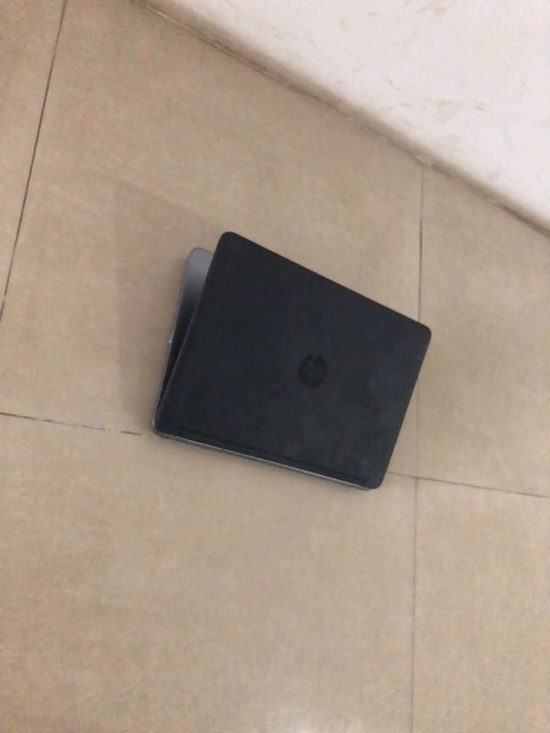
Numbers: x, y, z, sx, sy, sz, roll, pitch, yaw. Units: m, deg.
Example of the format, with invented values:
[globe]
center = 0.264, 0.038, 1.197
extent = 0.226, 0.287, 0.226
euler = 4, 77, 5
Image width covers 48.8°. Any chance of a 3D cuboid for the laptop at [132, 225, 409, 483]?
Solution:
[laptop]
center = 0.011, 0.004, 0.729
extent = 0.305, 0.084, 0.214
euler = 20, 72, -31
